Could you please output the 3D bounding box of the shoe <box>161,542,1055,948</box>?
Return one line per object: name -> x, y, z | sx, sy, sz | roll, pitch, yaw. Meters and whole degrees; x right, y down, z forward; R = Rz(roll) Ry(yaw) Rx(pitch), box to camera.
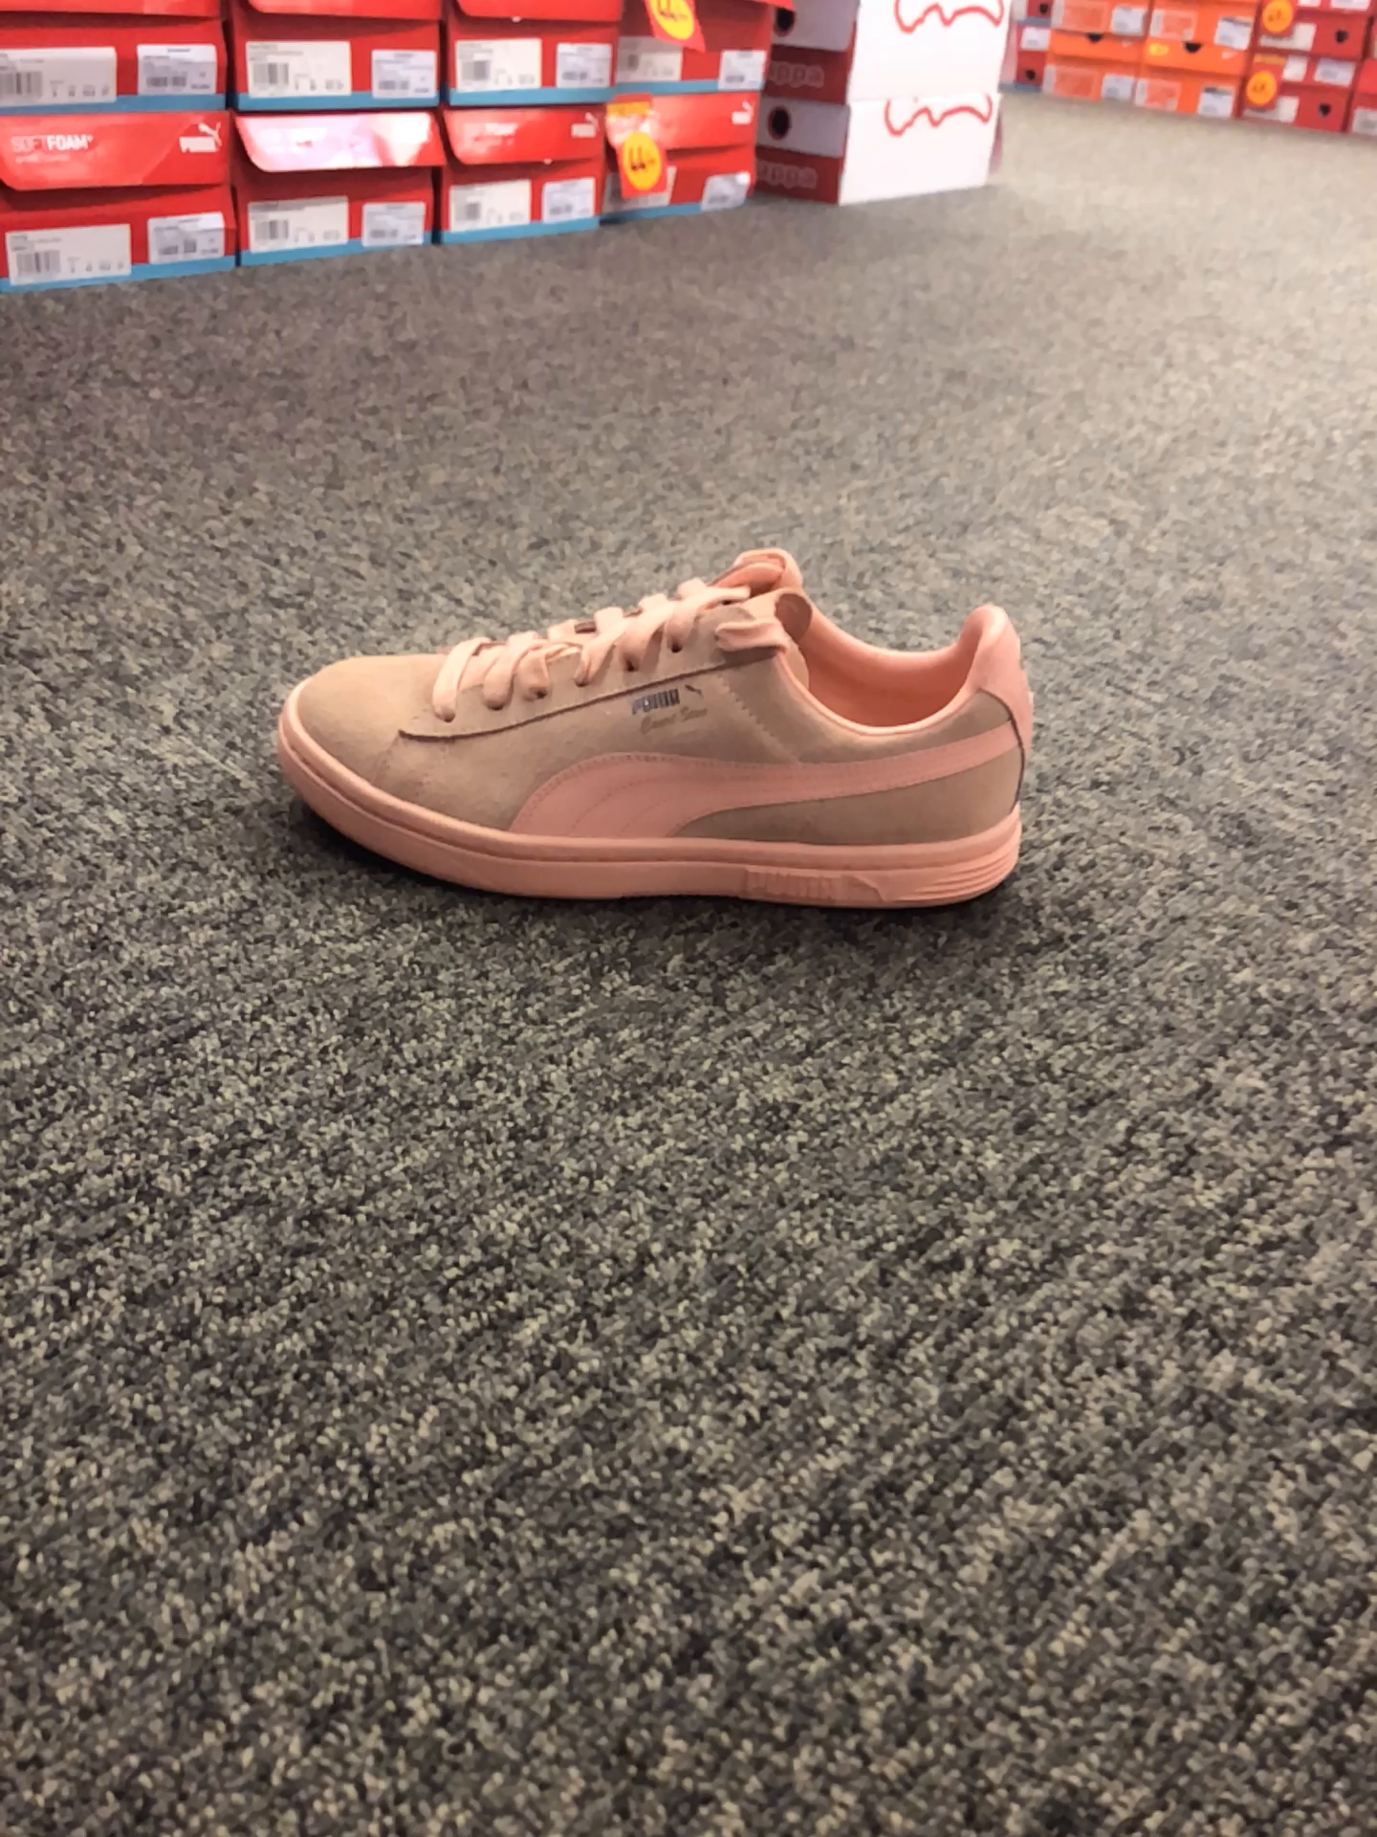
shoe -> -0.018, -0.059, 0.478 | 0.253, 0.090, 0.093 | 2, 32, 11
